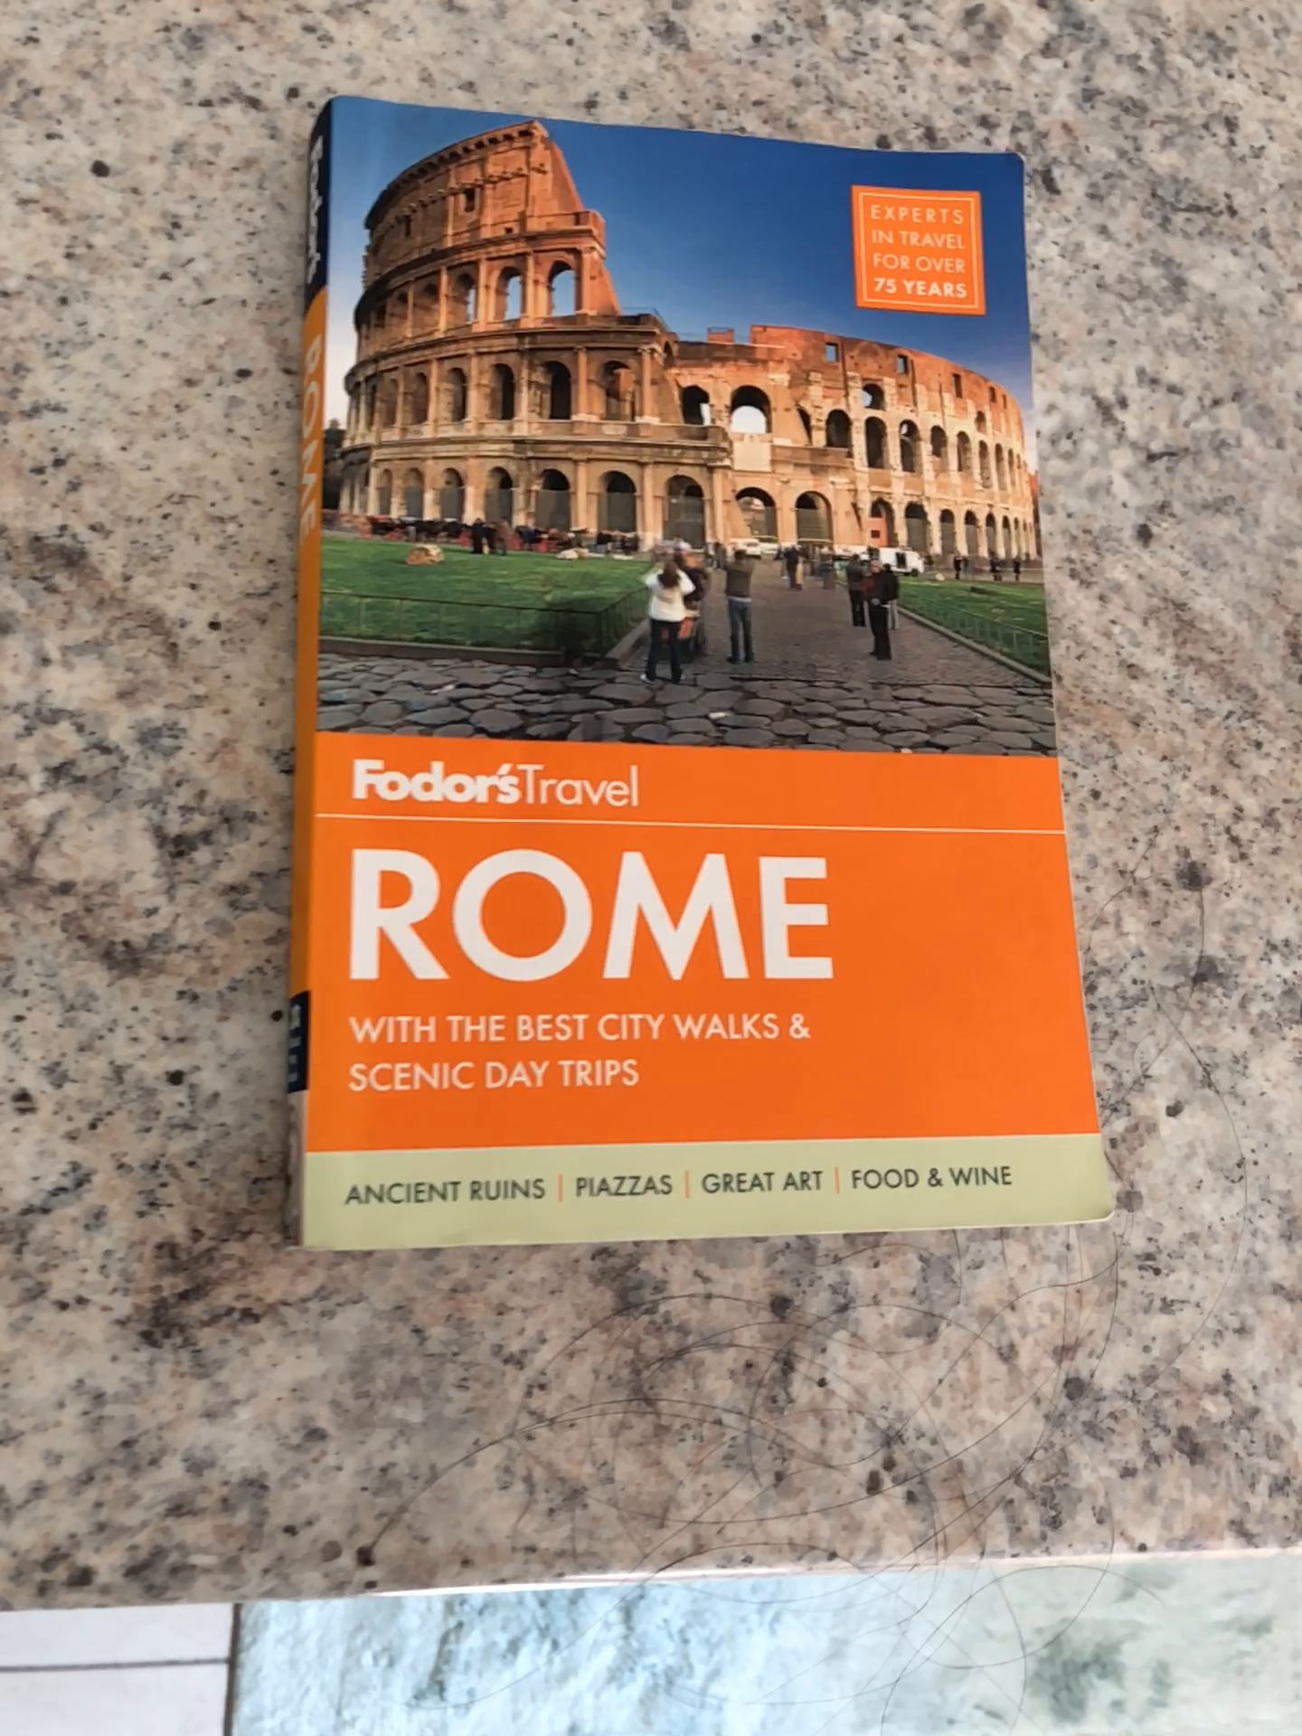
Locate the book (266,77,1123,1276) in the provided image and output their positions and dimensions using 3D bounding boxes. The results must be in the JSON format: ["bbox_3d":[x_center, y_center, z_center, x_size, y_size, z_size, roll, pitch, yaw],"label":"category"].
[{"bbox_3d":[0.006,-0.037,0.262,0.139,0.024,0.207,1,78,-11],"label":"book"}]
